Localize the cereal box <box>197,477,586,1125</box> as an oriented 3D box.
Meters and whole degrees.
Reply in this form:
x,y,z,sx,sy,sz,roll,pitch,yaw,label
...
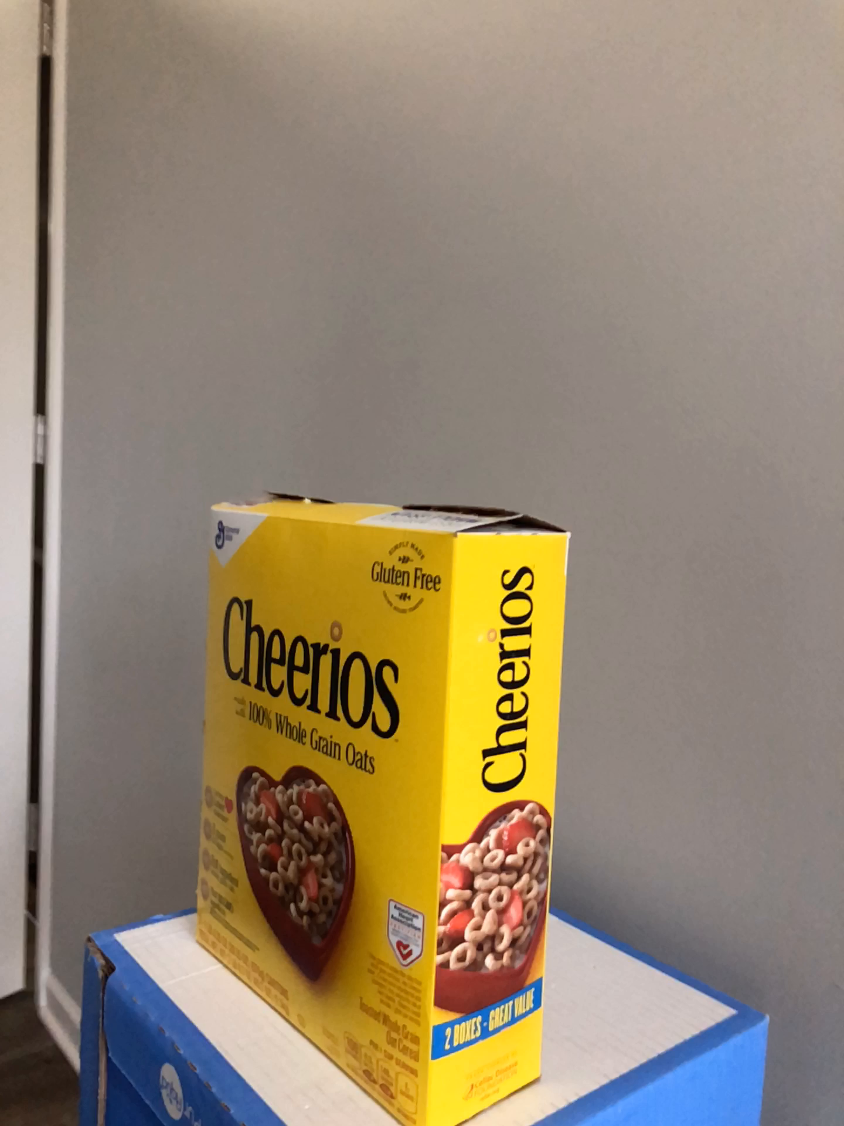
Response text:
x,y,z,sx,sy,sz,roll,pitch,yaw,label
-0.034,0.108,0.547,0.090,0.310,0.240,0,4,-38,cereal box
